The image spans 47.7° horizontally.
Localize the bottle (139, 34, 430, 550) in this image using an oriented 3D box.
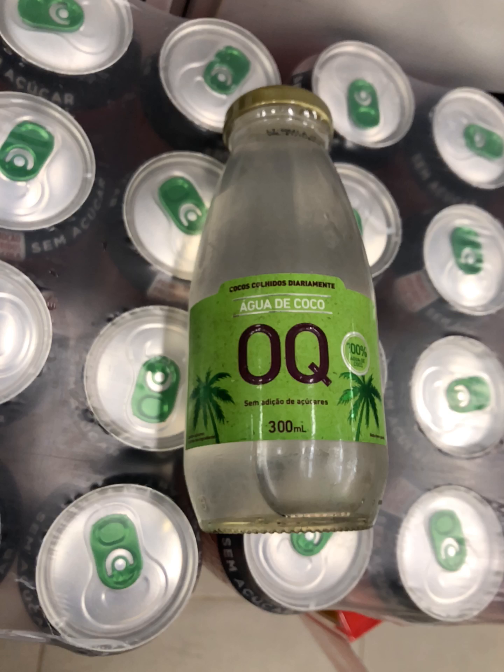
[{"bbox_3d":[0.005,-0.014,0.191,0.070,0.060,0.150,-4,76,-1],"label":"bottle"}]
